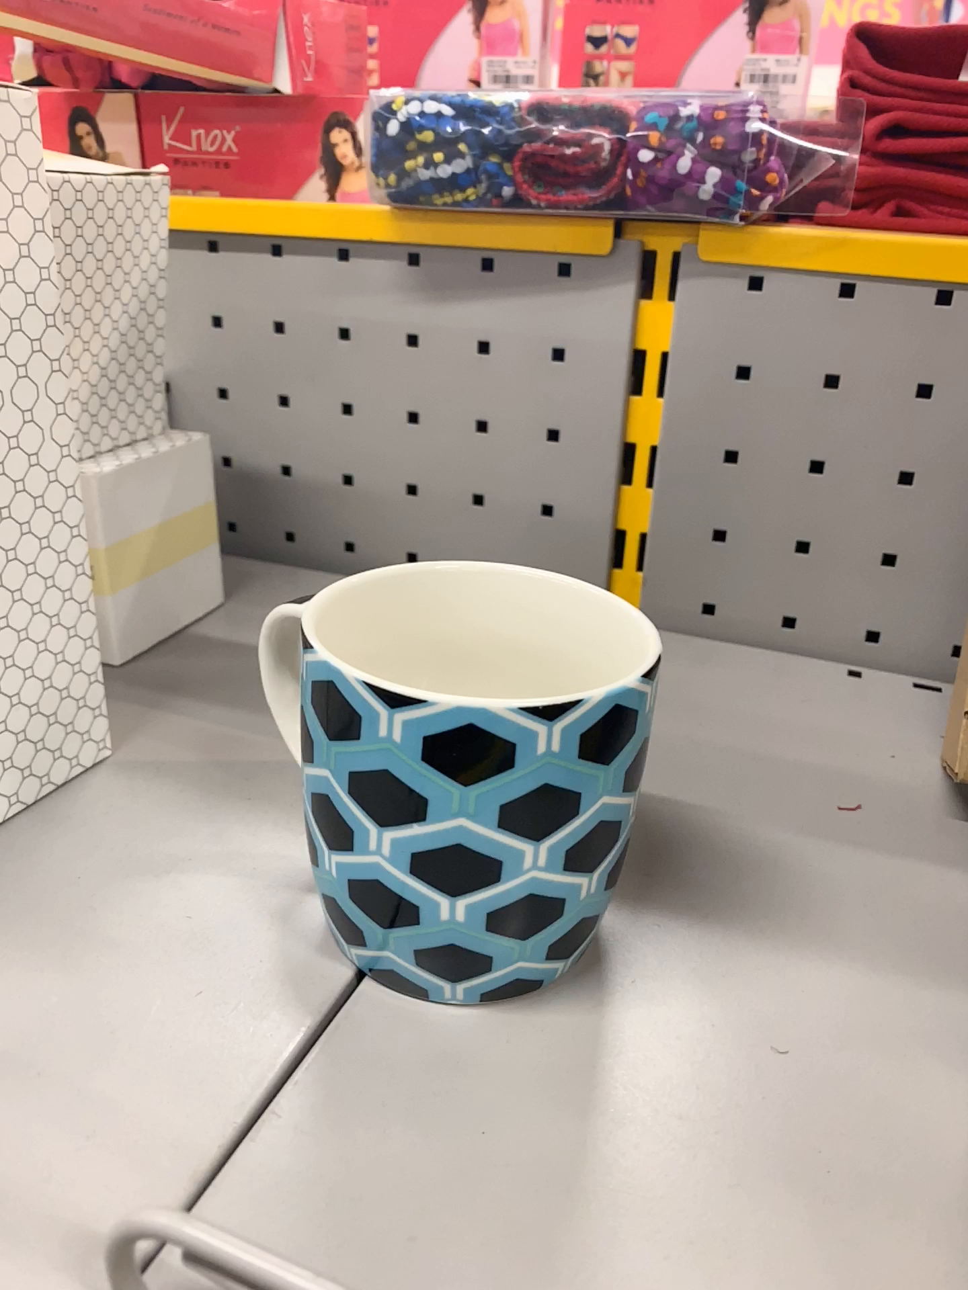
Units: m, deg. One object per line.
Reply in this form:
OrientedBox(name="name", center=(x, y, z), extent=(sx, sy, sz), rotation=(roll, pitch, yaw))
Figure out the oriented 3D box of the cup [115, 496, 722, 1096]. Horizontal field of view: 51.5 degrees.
OrientedBox(name="cup", center=(-0.019, 0.025, 0.264), extent=(0.120, 0.090, 0.090), rotation=(22, 30, 36))
